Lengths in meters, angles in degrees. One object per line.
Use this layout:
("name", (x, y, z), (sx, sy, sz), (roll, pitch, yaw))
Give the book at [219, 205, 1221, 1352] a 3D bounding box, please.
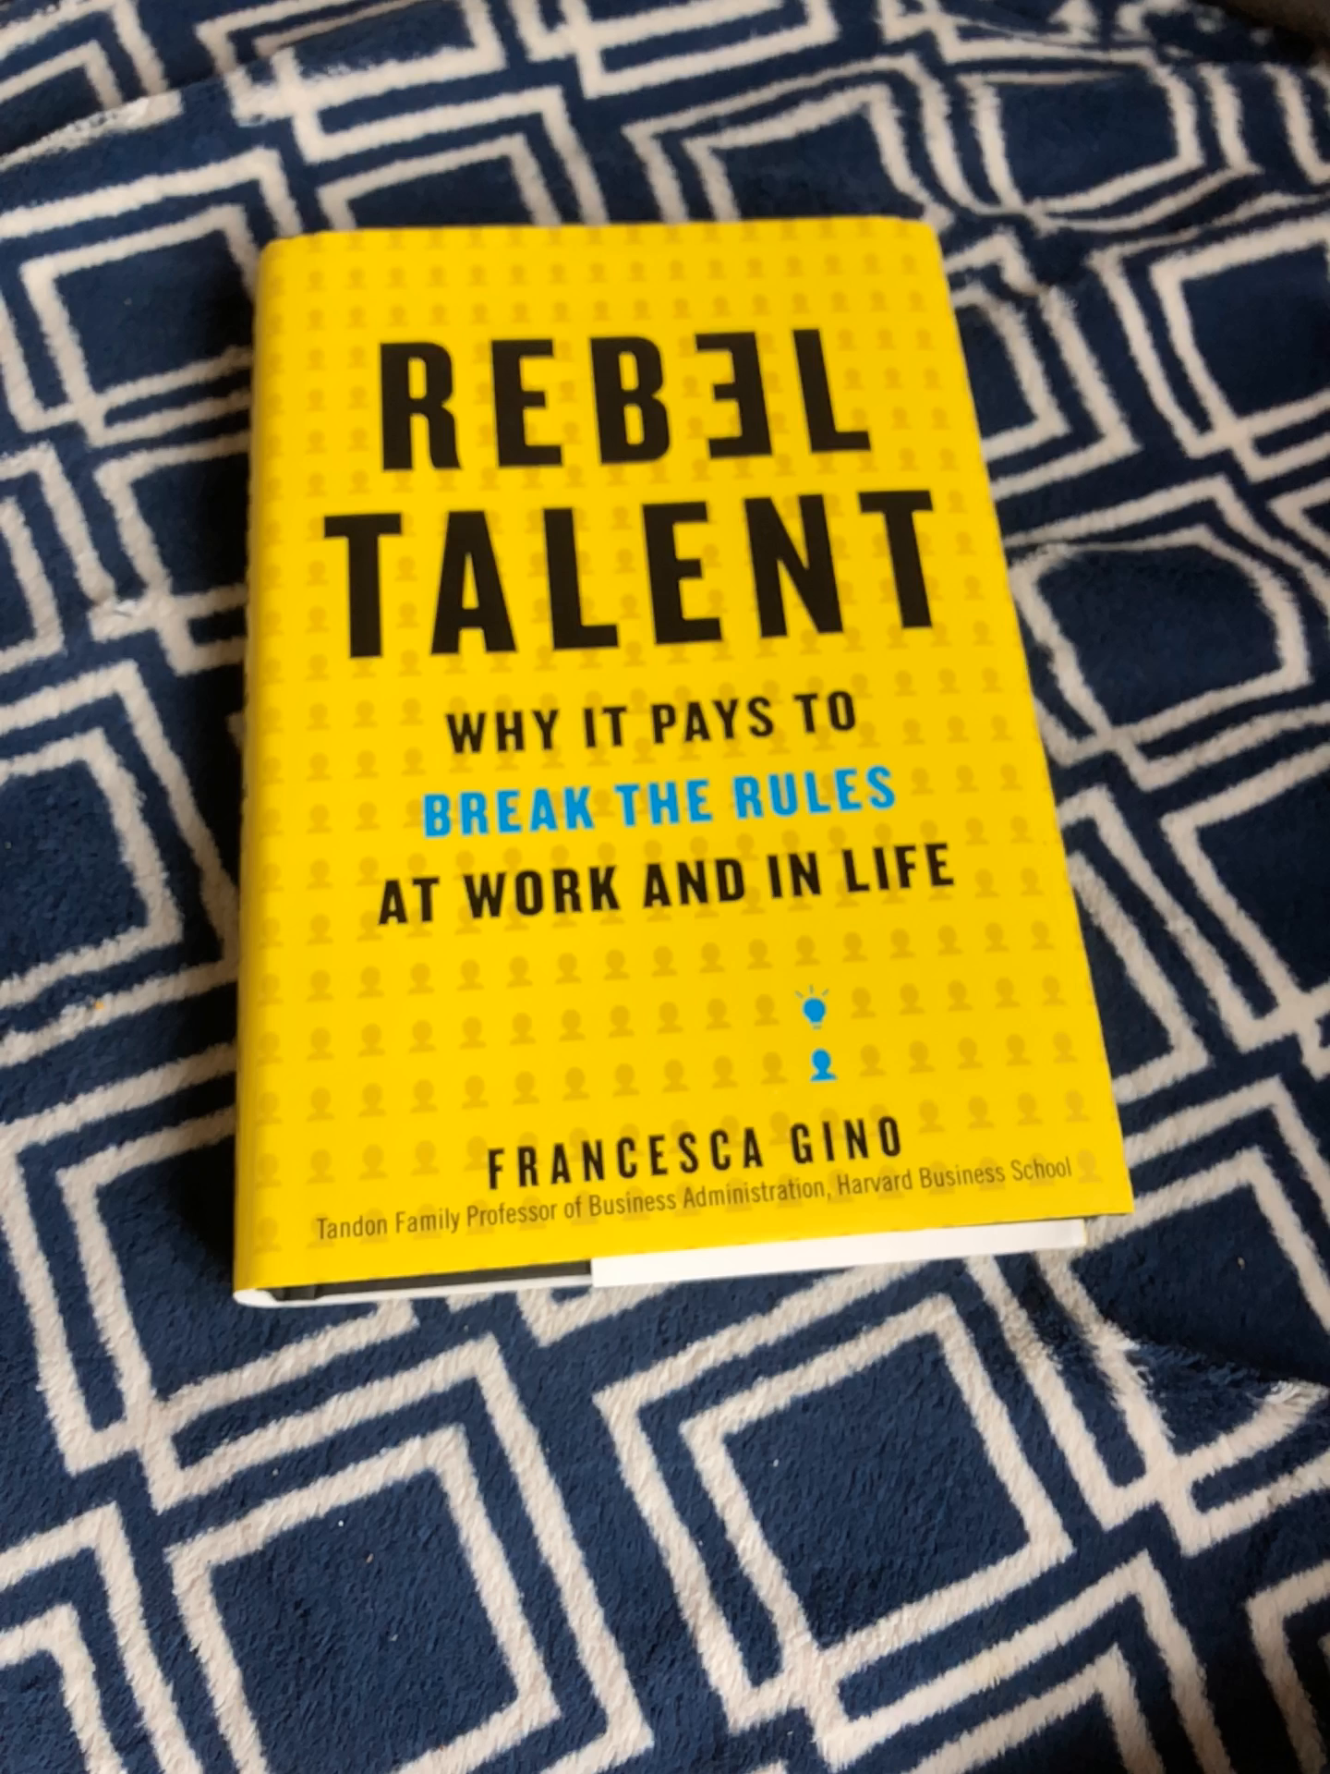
("book", (0.000, -0.037, 0.305), (0.167, 0.032, 0.237), (-3, 68, -6))
